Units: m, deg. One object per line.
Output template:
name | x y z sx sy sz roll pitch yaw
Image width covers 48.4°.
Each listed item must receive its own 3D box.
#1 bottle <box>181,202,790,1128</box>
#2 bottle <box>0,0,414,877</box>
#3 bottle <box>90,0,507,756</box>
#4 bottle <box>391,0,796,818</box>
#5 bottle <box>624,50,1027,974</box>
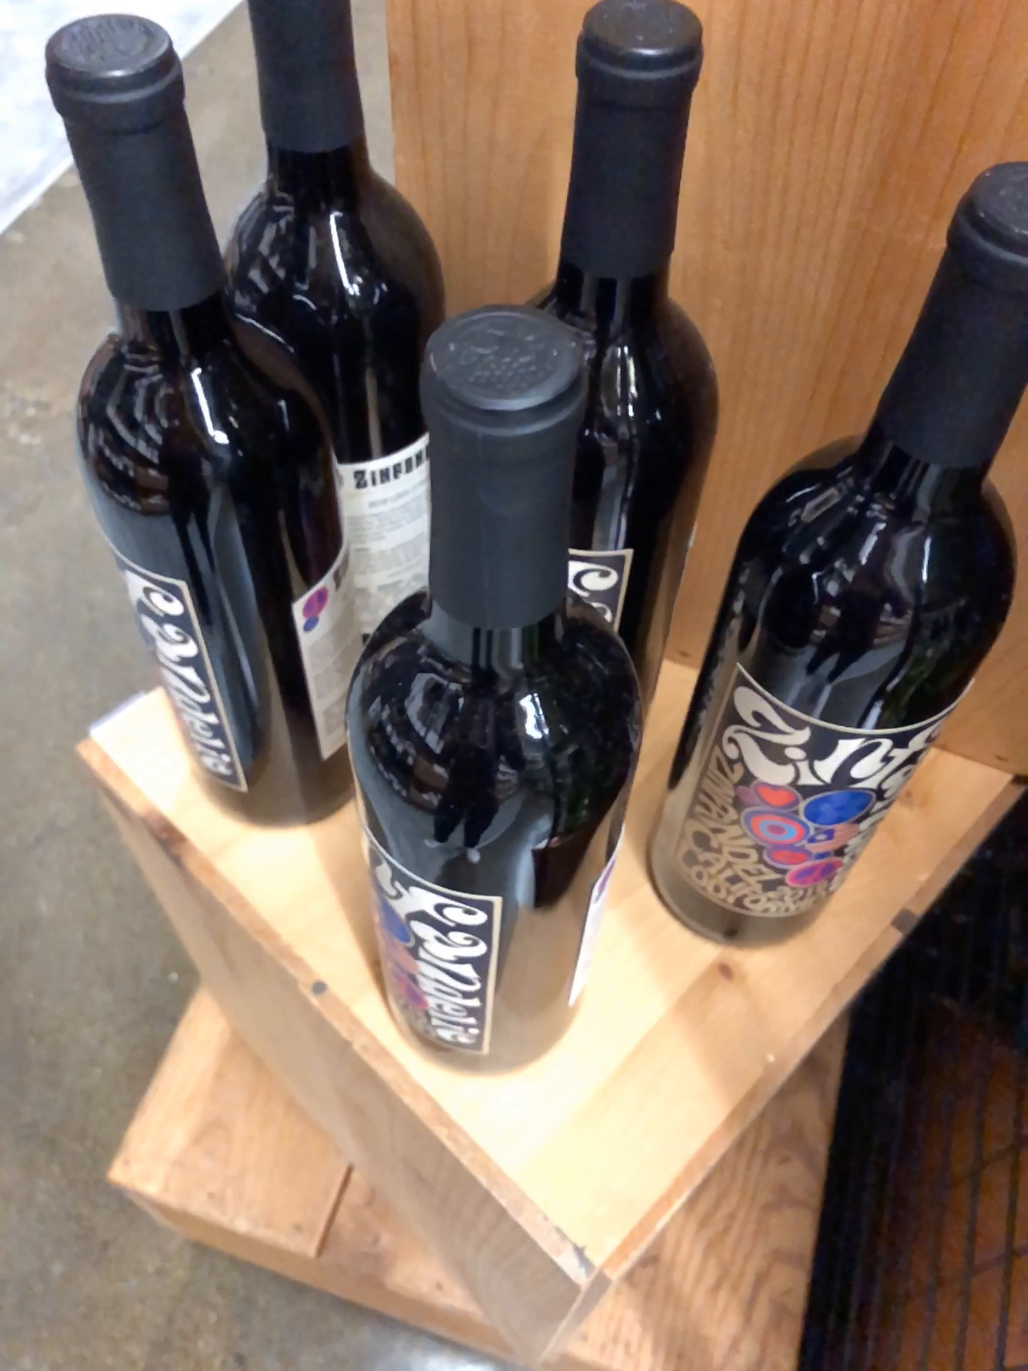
bottle | -0.010 0.031 0.307 0.070 0.286 0.073 1 56 -2
bottle | -0.094 -0.053 0.376 0.077 0.304 0.080 1 56 -2
bottle | -0.056 -0.090 0.374 0.080 0.280 0.077 1 56 -2
bottle | 0.016 -0.063 0.362 0.080 0.275 0.077 1 56 -2
bottle | 0.095 -0.011 0.348 0.080 0.310 0.077 1 56 -2
